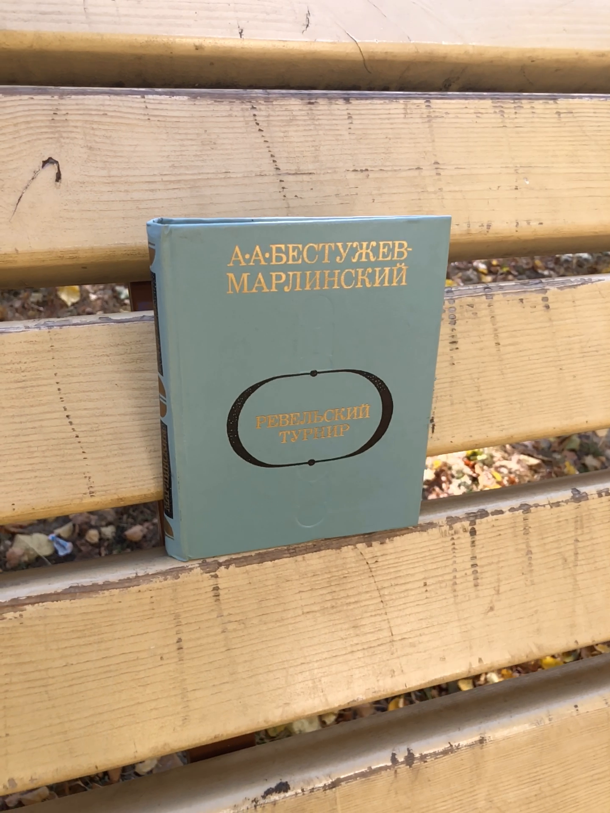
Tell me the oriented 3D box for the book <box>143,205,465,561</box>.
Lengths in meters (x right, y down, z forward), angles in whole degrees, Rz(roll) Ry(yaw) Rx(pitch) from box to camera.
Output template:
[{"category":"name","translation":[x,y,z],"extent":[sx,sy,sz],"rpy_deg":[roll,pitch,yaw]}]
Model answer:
[{"category":"book","translation":[0.000,-0.008,0.333],"extent":[0.140,0.169,0.022],"rpy_deg":[-5,26,-11]}]
